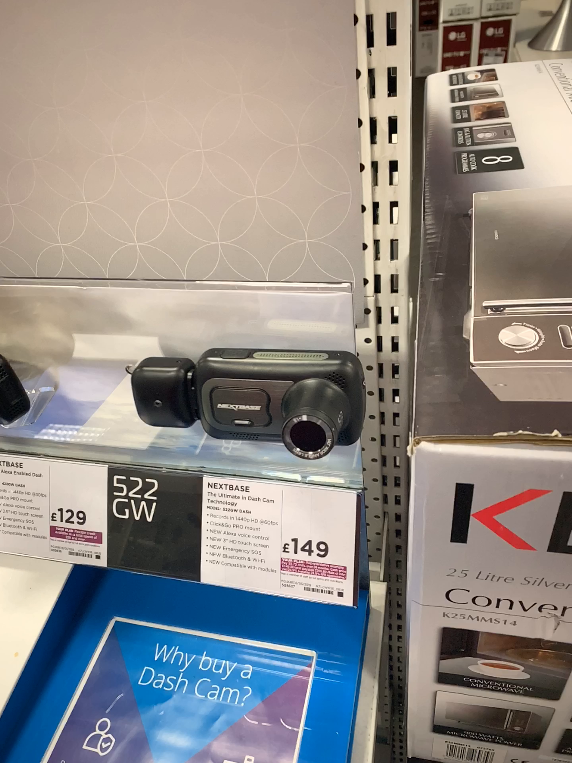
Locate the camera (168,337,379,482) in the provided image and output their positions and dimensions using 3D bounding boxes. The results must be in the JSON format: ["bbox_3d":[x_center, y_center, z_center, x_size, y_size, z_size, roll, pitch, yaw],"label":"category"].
[{"bbox_3d":[-0.002,0.013,0.321,0.100,0.050,0.061,1,35,12],"label":"camera"}]
